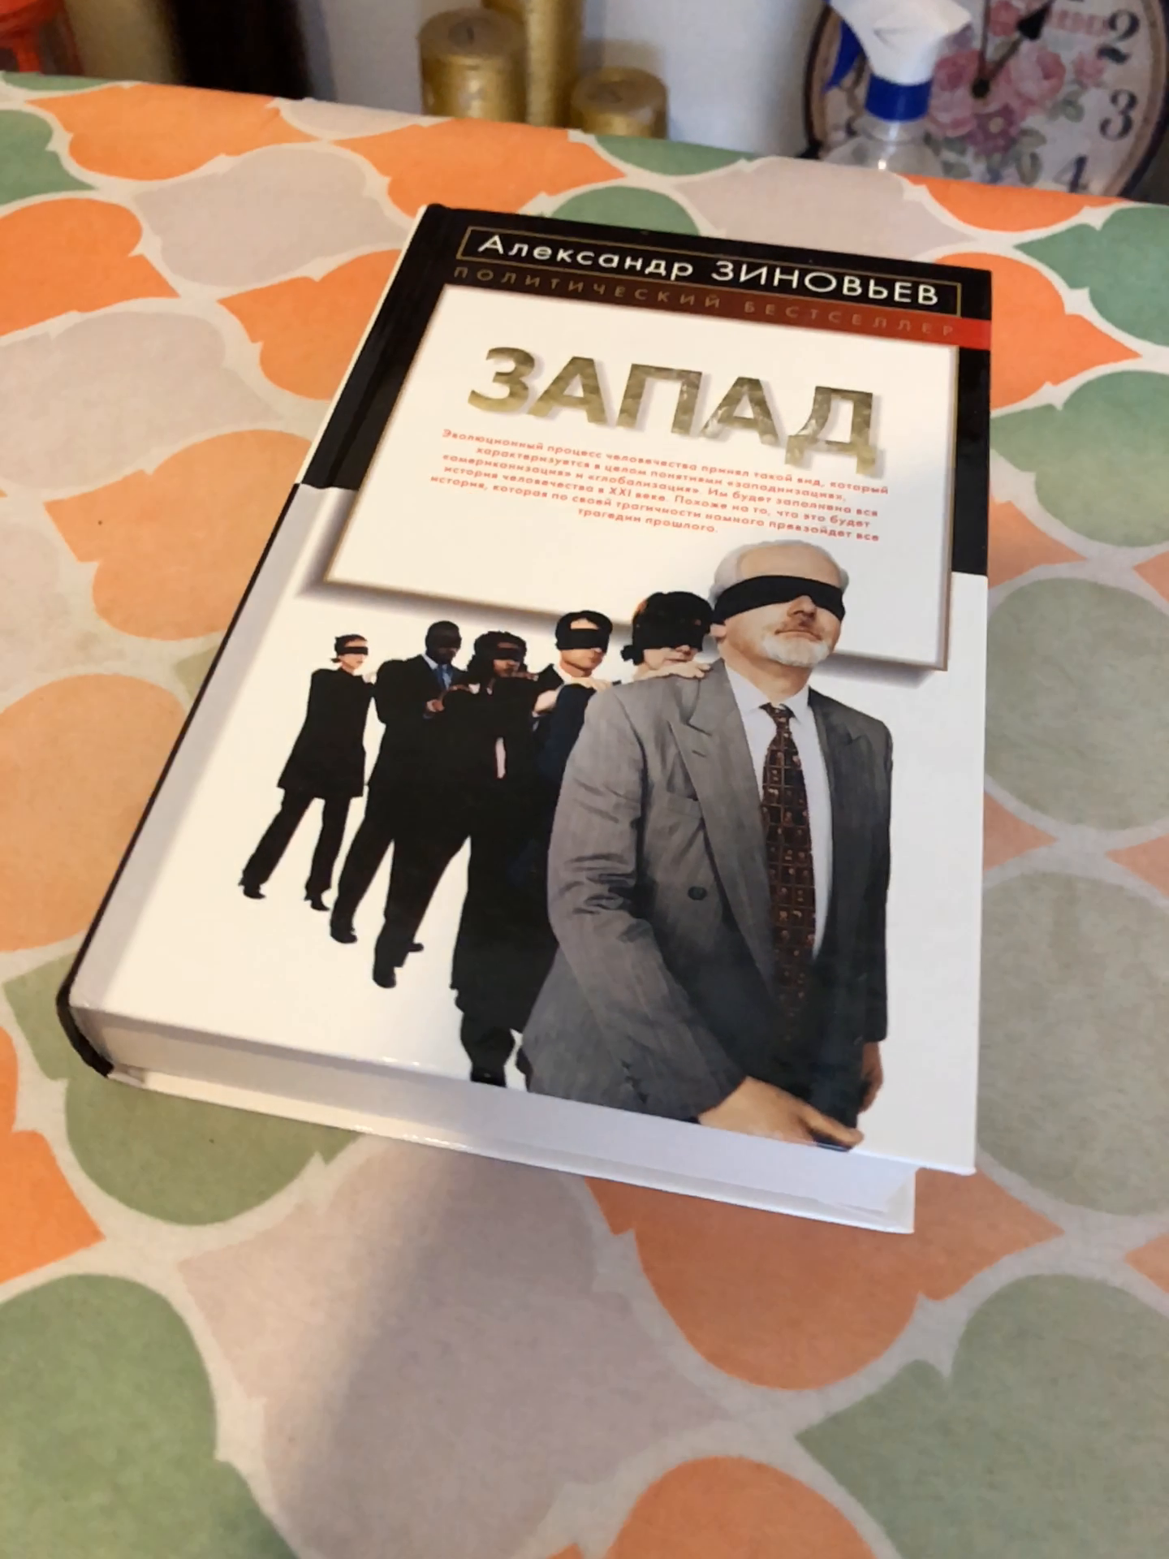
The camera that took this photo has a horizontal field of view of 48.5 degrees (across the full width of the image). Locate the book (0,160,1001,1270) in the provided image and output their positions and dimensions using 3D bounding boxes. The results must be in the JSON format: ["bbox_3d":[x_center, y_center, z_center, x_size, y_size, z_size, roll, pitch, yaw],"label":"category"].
[{"bbox_3d":[0.004,-0.036,0.252,0.140,0.040,0.221,9,55,6],"label":"book"}]
